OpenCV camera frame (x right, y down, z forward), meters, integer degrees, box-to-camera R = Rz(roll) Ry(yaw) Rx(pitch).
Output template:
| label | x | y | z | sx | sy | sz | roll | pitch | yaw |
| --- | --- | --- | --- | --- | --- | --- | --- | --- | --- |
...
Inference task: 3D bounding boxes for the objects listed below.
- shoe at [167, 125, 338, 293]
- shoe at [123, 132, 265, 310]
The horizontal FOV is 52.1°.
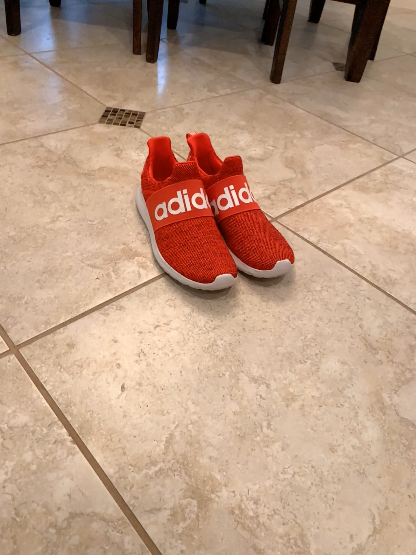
| label | x | y | z | sx | sy | sz | roll | pitch | yaw |
| --- | --- | --- | --- | --- | --- | --- | --- | --- | --- |
| shoe | 0.055 | -0.130 | 0.717 | 0.118 | 0.118 | 0.301 | -17 | 49 | -27 |
| shoe | -0.041 | -0.108 | 0.683 | 0.117 | 0.118 | 0.301 | -11 | 46 | -20 |
